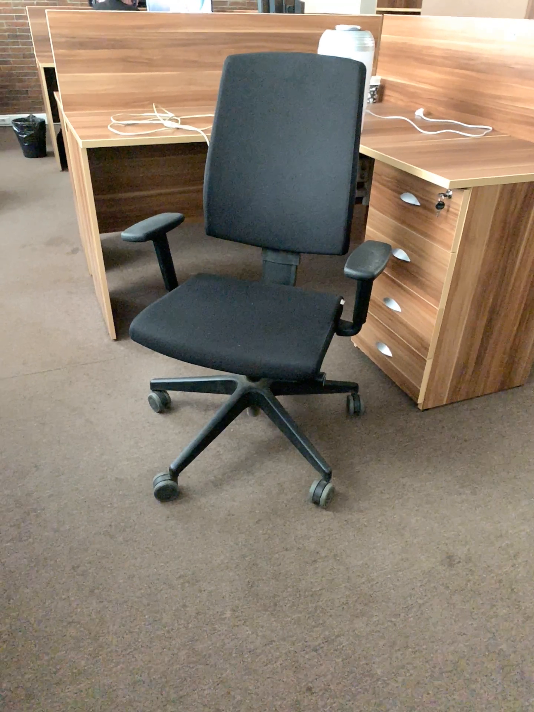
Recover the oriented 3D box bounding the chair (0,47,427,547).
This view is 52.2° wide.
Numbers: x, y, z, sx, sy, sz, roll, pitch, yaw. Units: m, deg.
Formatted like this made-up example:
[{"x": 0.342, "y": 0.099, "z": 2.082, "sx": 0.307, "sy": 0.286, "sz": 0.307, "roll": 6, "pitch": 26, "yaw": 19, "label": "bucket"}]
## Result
[{"x": -0.053, "y": -0.227, "z": 1.377, "sx": 0.670, "sy": 0.915, "sz": 0.794, "roll": 11, "pitch": 33, "yaw": 16, "label": "chair"}]
